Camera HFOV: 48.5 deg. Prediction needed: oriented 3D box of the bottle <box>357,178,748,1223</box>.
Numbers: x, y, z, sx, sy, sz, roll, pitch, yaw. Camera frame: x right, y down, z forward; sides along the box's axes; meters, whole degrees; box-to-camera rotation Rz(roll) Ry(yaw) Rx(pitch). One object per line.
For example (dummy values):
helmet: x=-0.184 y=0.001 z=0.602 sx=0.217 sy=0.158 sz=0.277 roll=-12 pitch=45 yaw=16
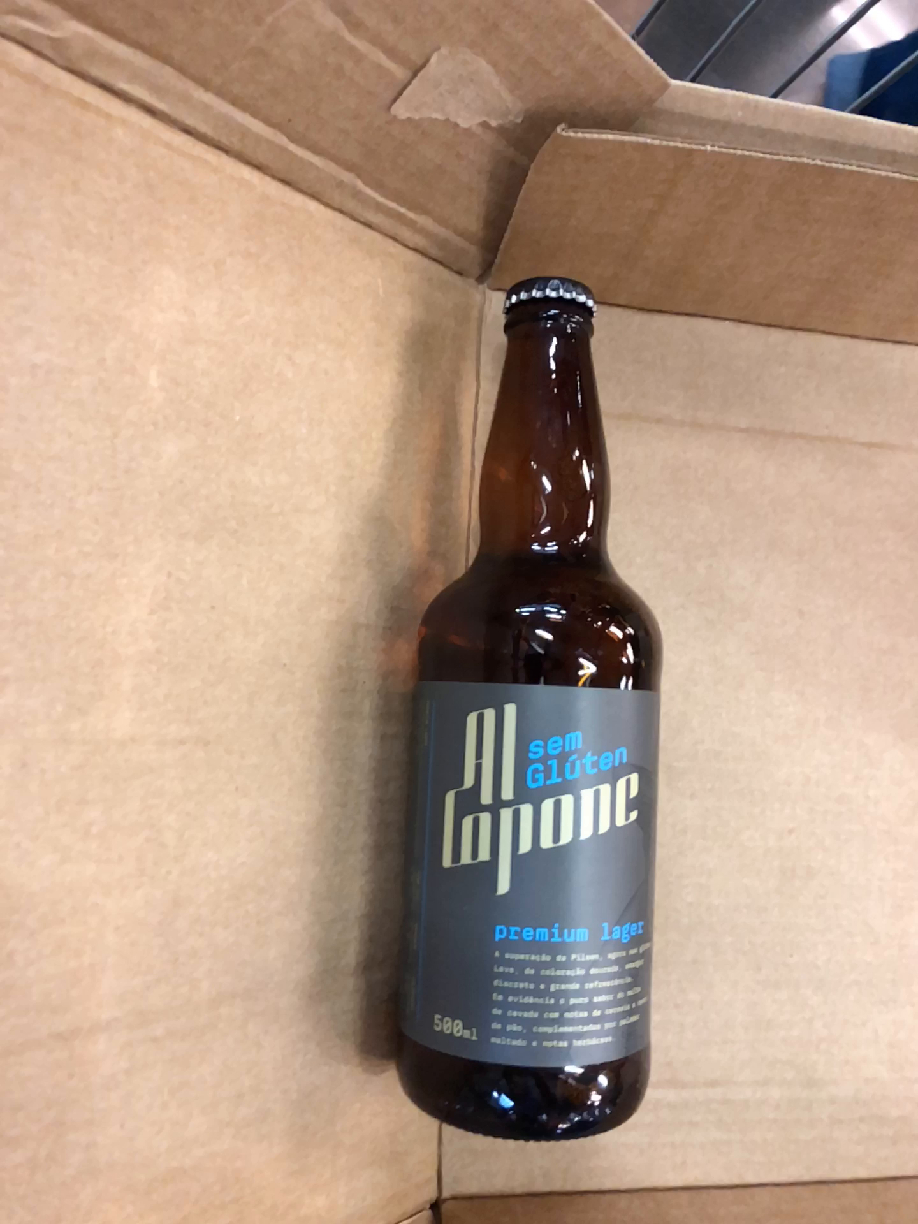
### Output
bottle: x=0.024 y=0.020 z=0.275 sx=0.080 sy=0.060 sz=0.240 roll=4 pitch=82 yaw=-25
